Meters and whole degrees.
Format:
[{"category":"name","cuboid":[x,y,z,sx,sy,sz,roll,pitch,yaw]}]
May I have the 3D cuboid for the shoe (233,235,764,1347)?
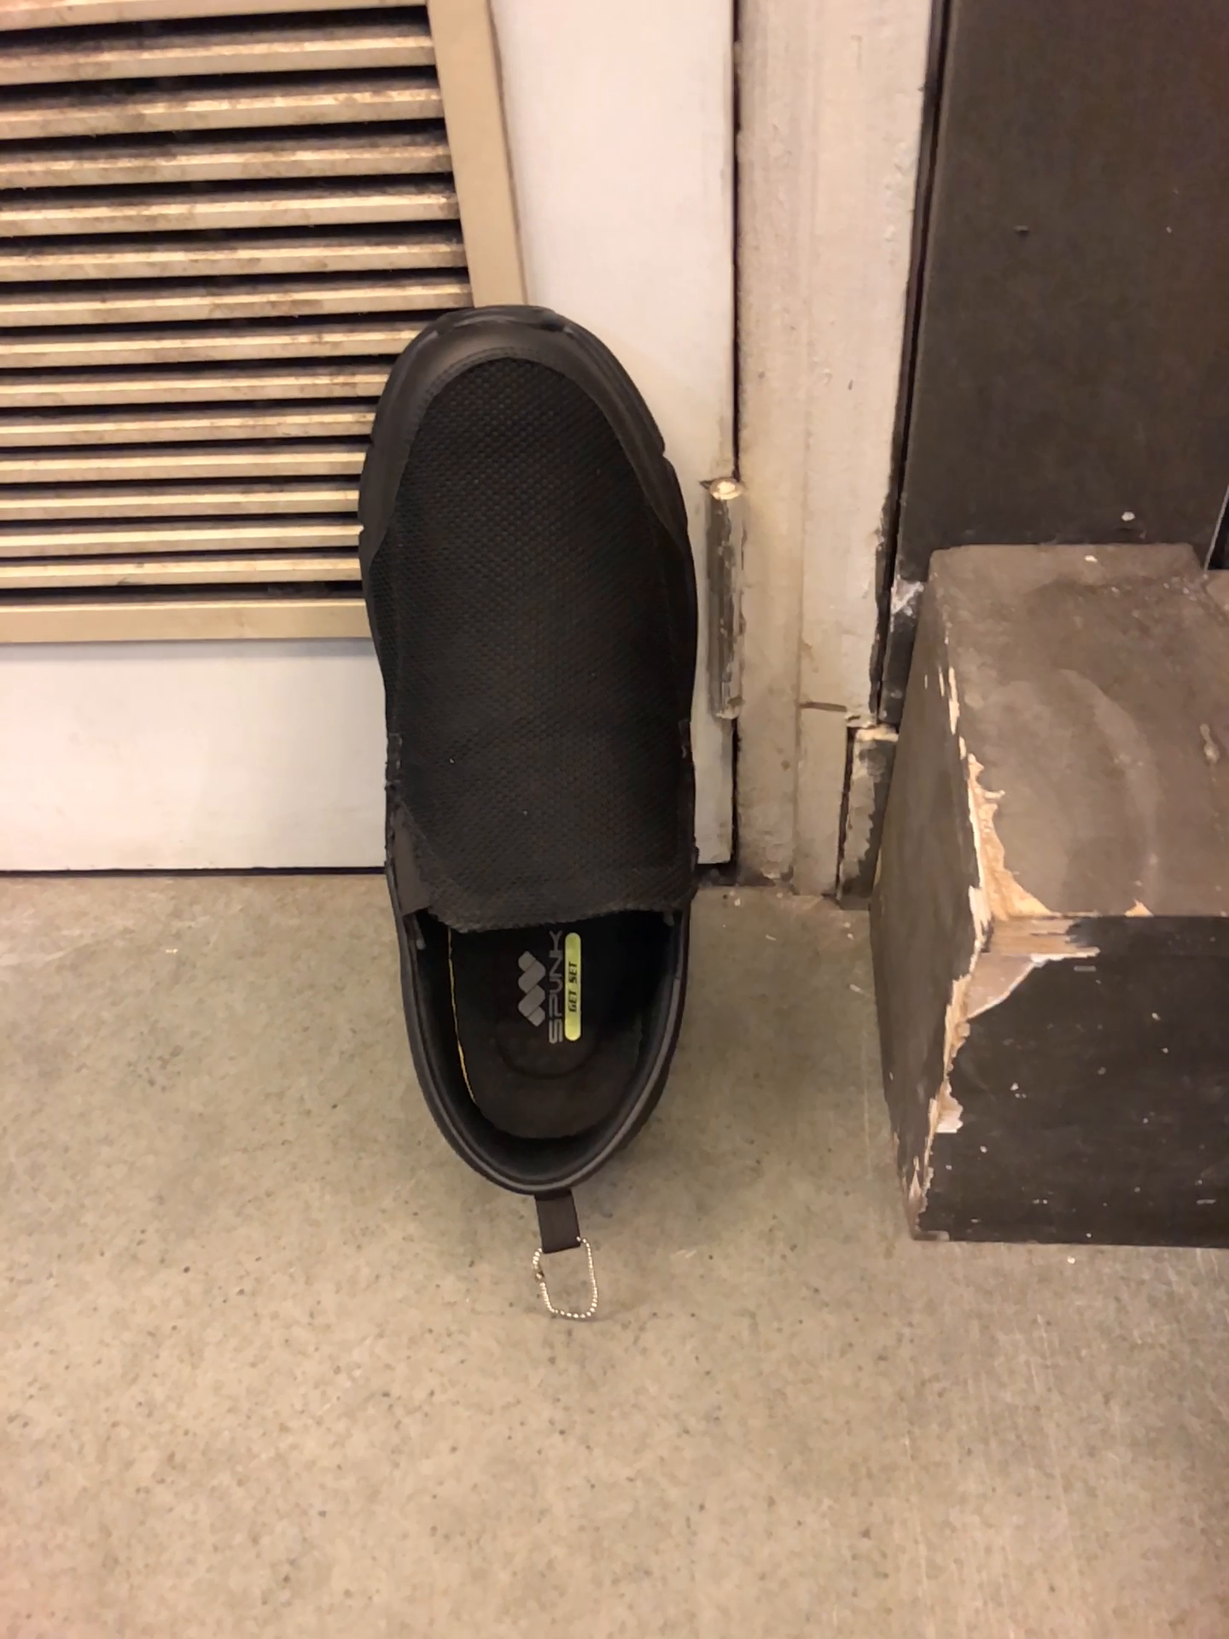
[{"category":"shoe","cuboid":[-0.022,-0.008,0.415,0.111,0.291,0.128,-4,15,2]}]
